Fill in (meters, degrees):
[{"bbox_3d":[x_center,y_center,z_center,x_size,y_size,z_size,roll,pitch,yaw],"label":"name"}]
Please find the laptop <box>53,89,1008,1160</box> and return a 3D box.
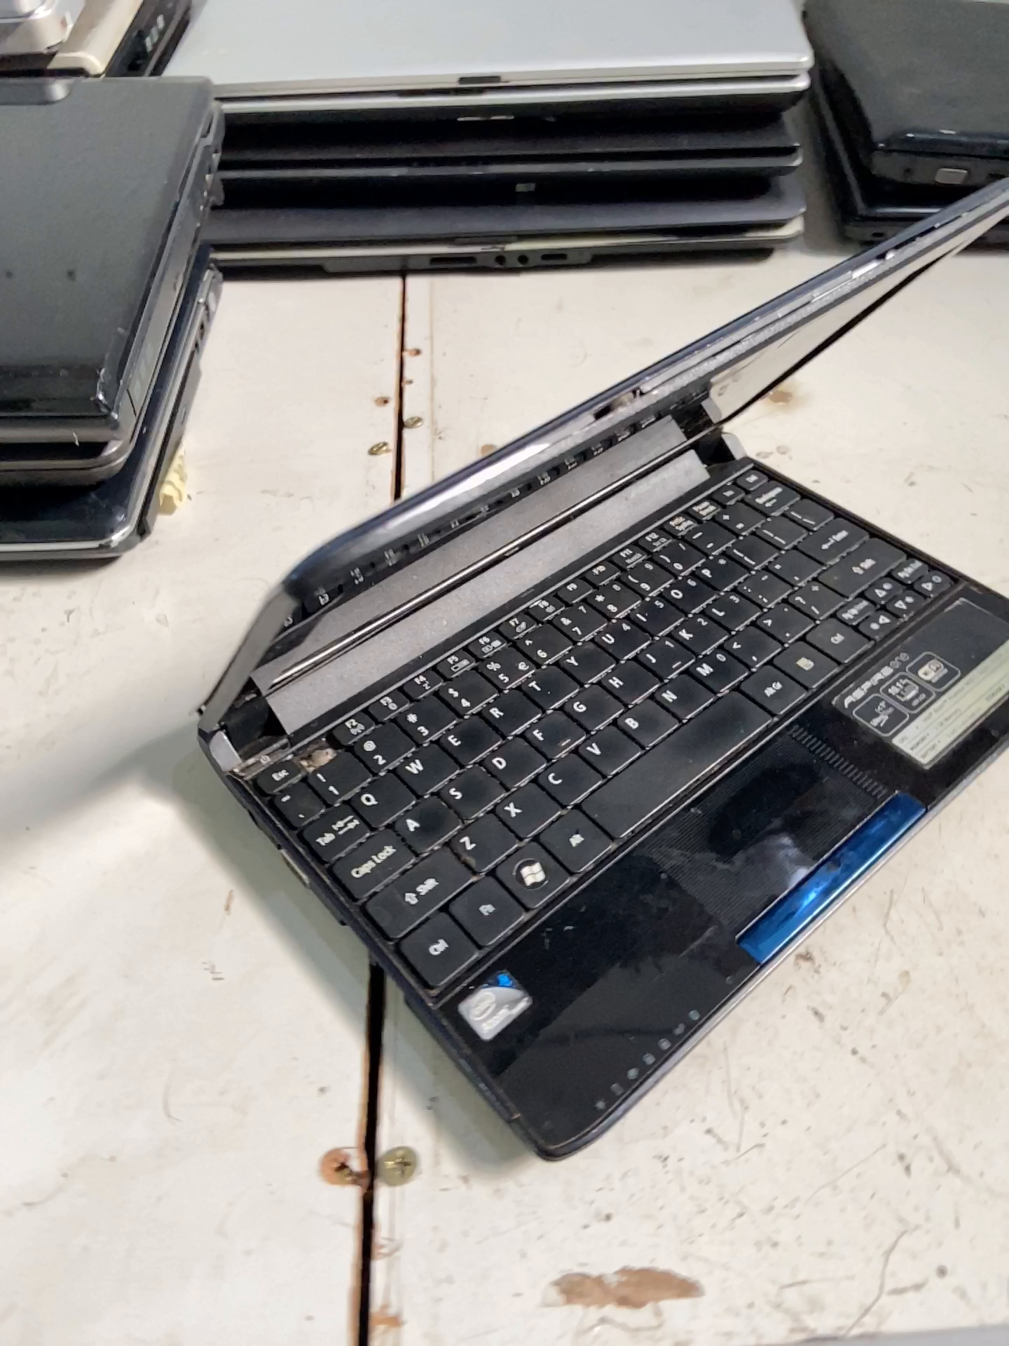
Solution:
[{"bbox_3d":[0.046,-0.041,0.292,0.244,0.131,0.171,-33,54,-26],"label":"laptop"}]
